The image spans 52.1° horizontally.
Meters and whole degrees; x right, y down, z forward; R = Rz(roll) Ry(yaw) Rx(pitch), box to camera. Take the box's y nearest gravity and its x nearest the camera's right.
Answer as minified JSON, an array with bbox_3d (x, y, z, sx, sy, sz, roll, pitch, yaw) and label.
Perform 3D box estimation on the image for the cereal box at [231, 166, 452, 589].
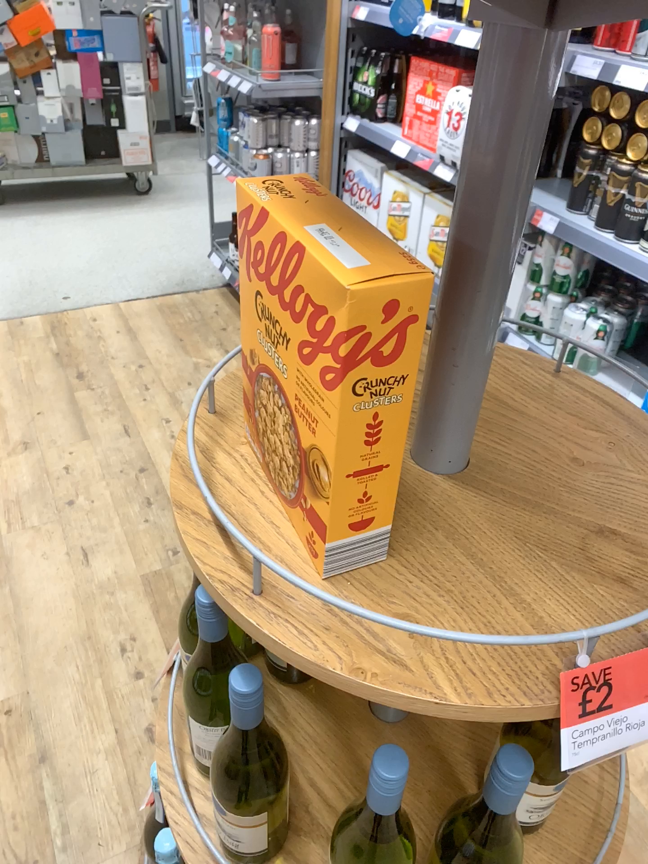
[{"bbox_3d":[-0.006,-0.046,0.503,0.060,0.238,0.212,-13,40,-21],"label":"cereal box"}]
